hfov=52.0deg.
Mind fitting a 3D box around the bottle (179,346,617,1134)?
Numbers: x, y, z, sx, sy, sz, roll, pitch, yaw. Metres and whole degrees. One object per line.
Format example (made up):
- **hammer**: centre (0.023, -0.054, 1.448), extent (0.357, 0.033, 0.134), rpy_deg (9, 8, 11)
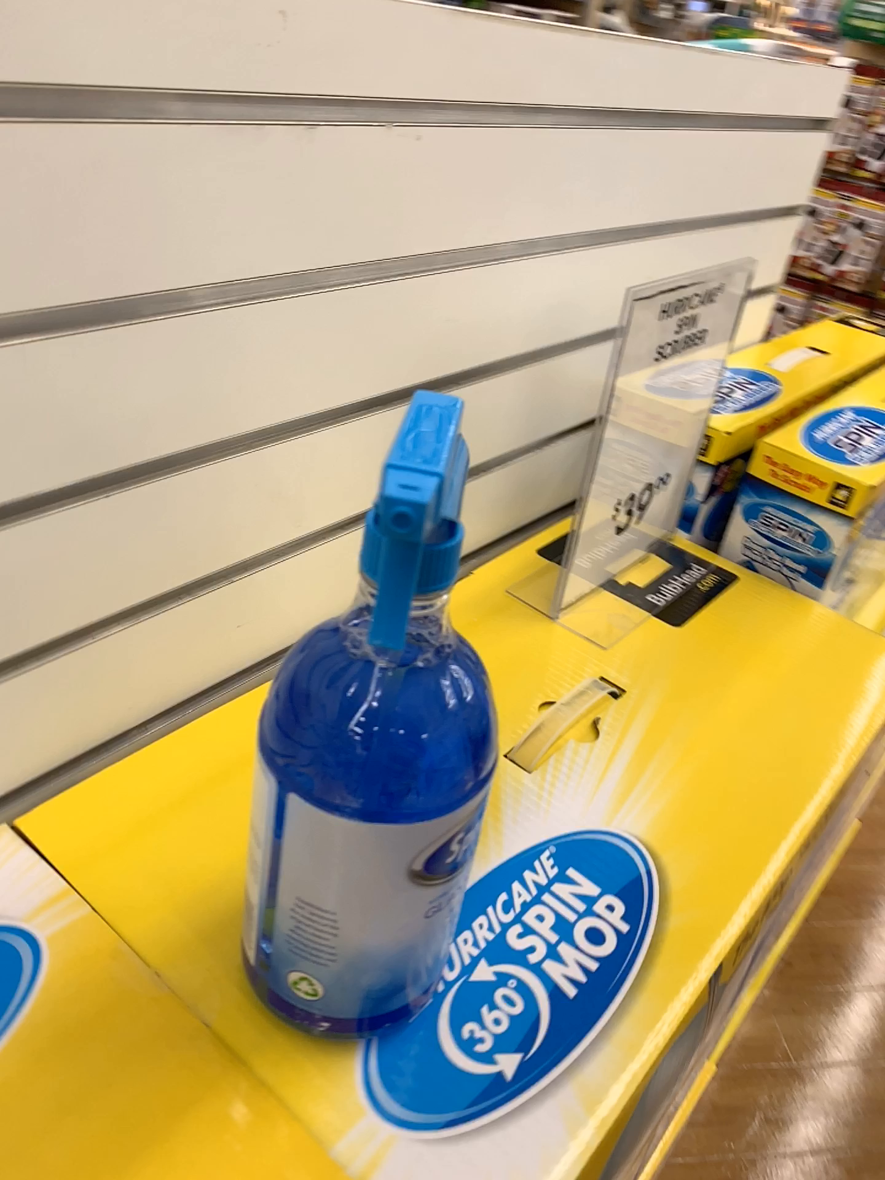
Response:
- **bottle**: centre (-0.020, 0.057, 0.315), extent (0.090, 0.239, 0.111), rpy_deg (16, 33, 10)
